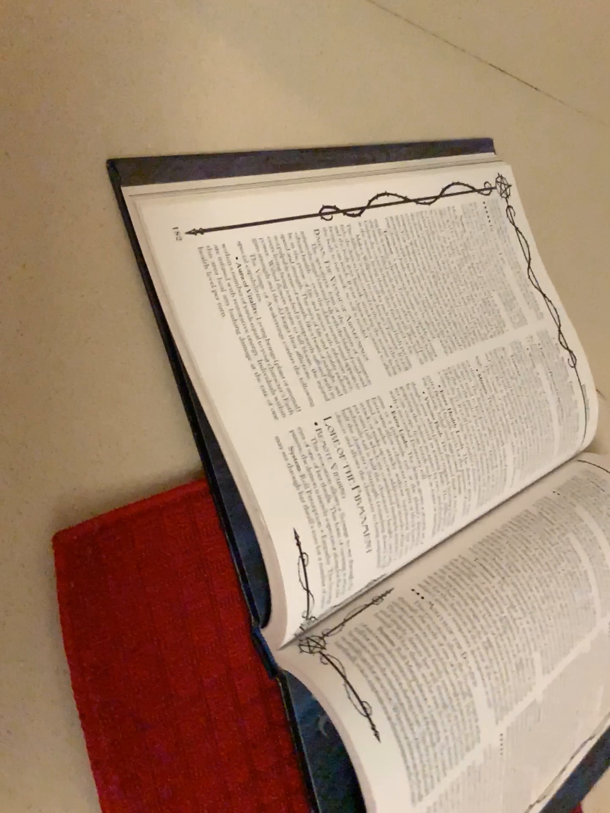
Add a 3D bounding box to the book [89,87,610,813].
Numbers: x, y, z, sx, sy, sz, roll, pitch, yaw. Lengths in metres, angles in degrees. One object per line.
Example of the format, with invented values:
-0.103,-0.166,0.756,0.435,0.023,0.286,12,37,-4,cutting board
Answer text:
0.096,0.064,0.387,0.290,0.060,0.450,-23,101,-37,book
